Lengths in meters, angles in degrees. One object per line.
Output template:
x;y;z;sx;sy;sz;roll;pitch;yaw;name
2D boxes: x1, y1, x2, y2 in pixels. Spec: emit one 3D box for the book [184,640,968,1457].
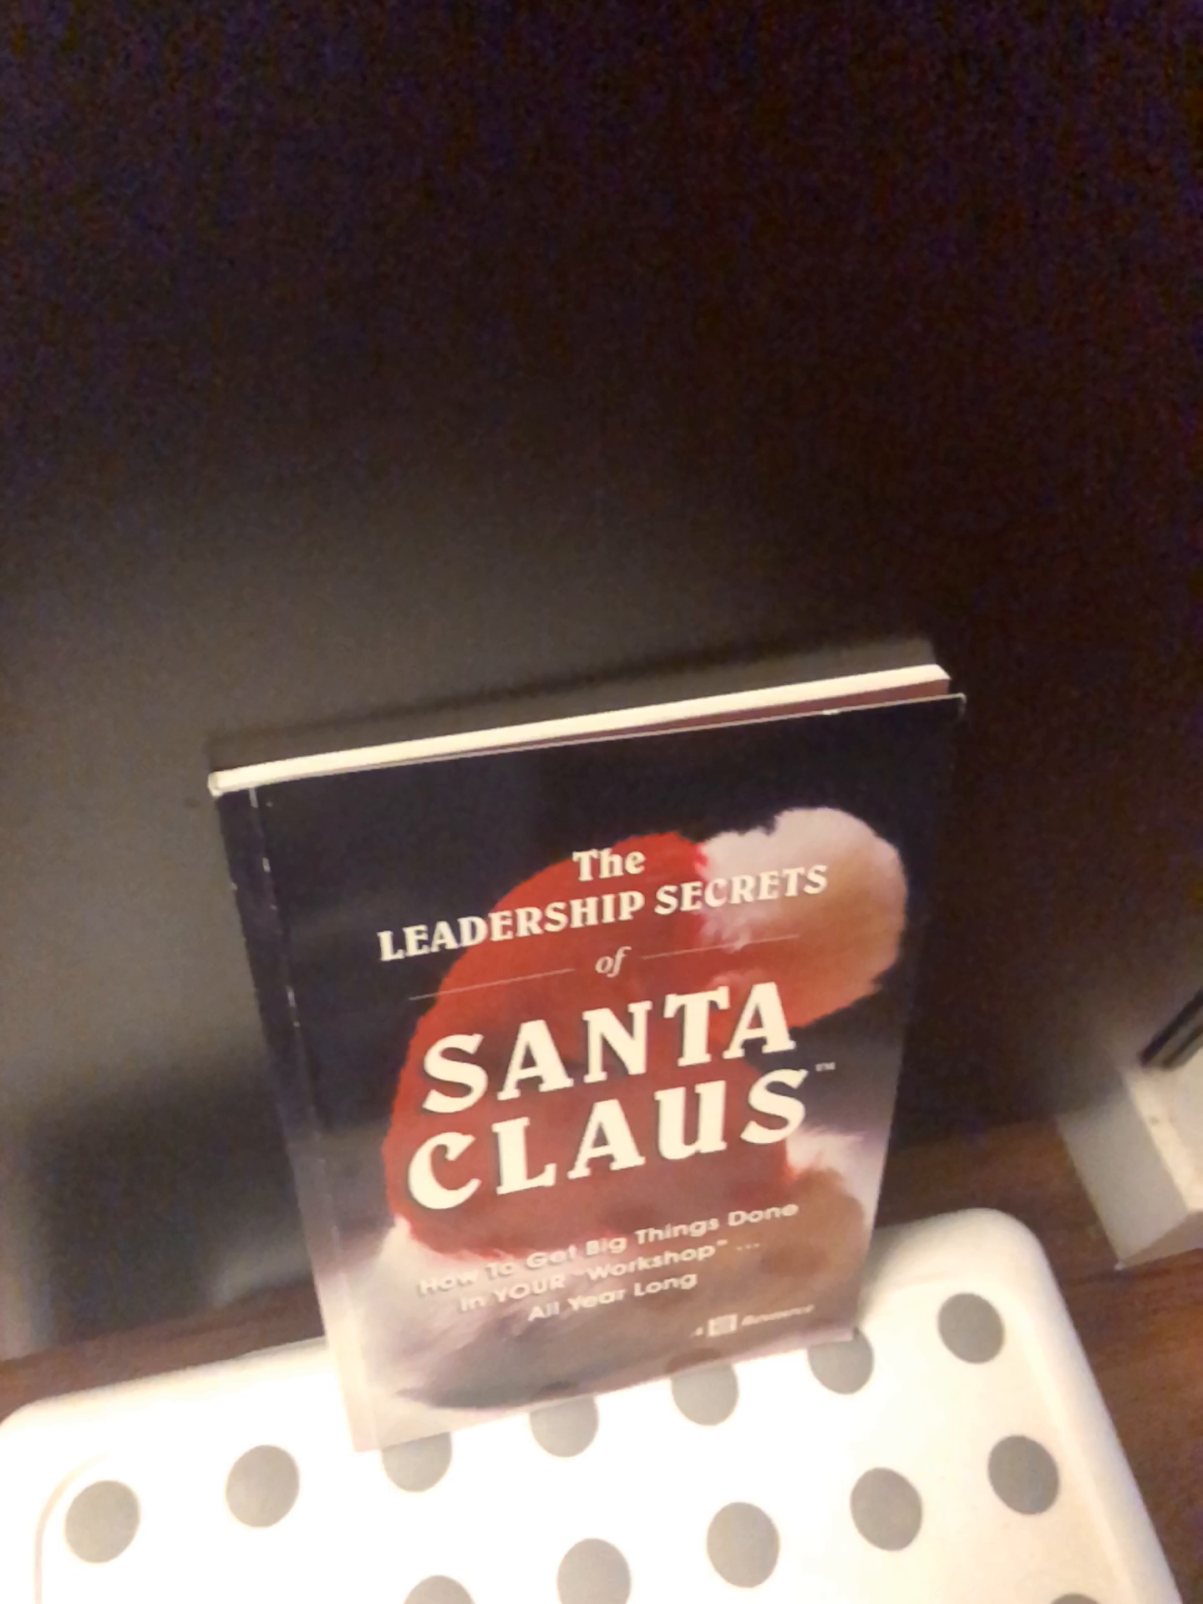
0.000;0.074;0.332;0.160;0.225;0.010;-9;35;-12;book
